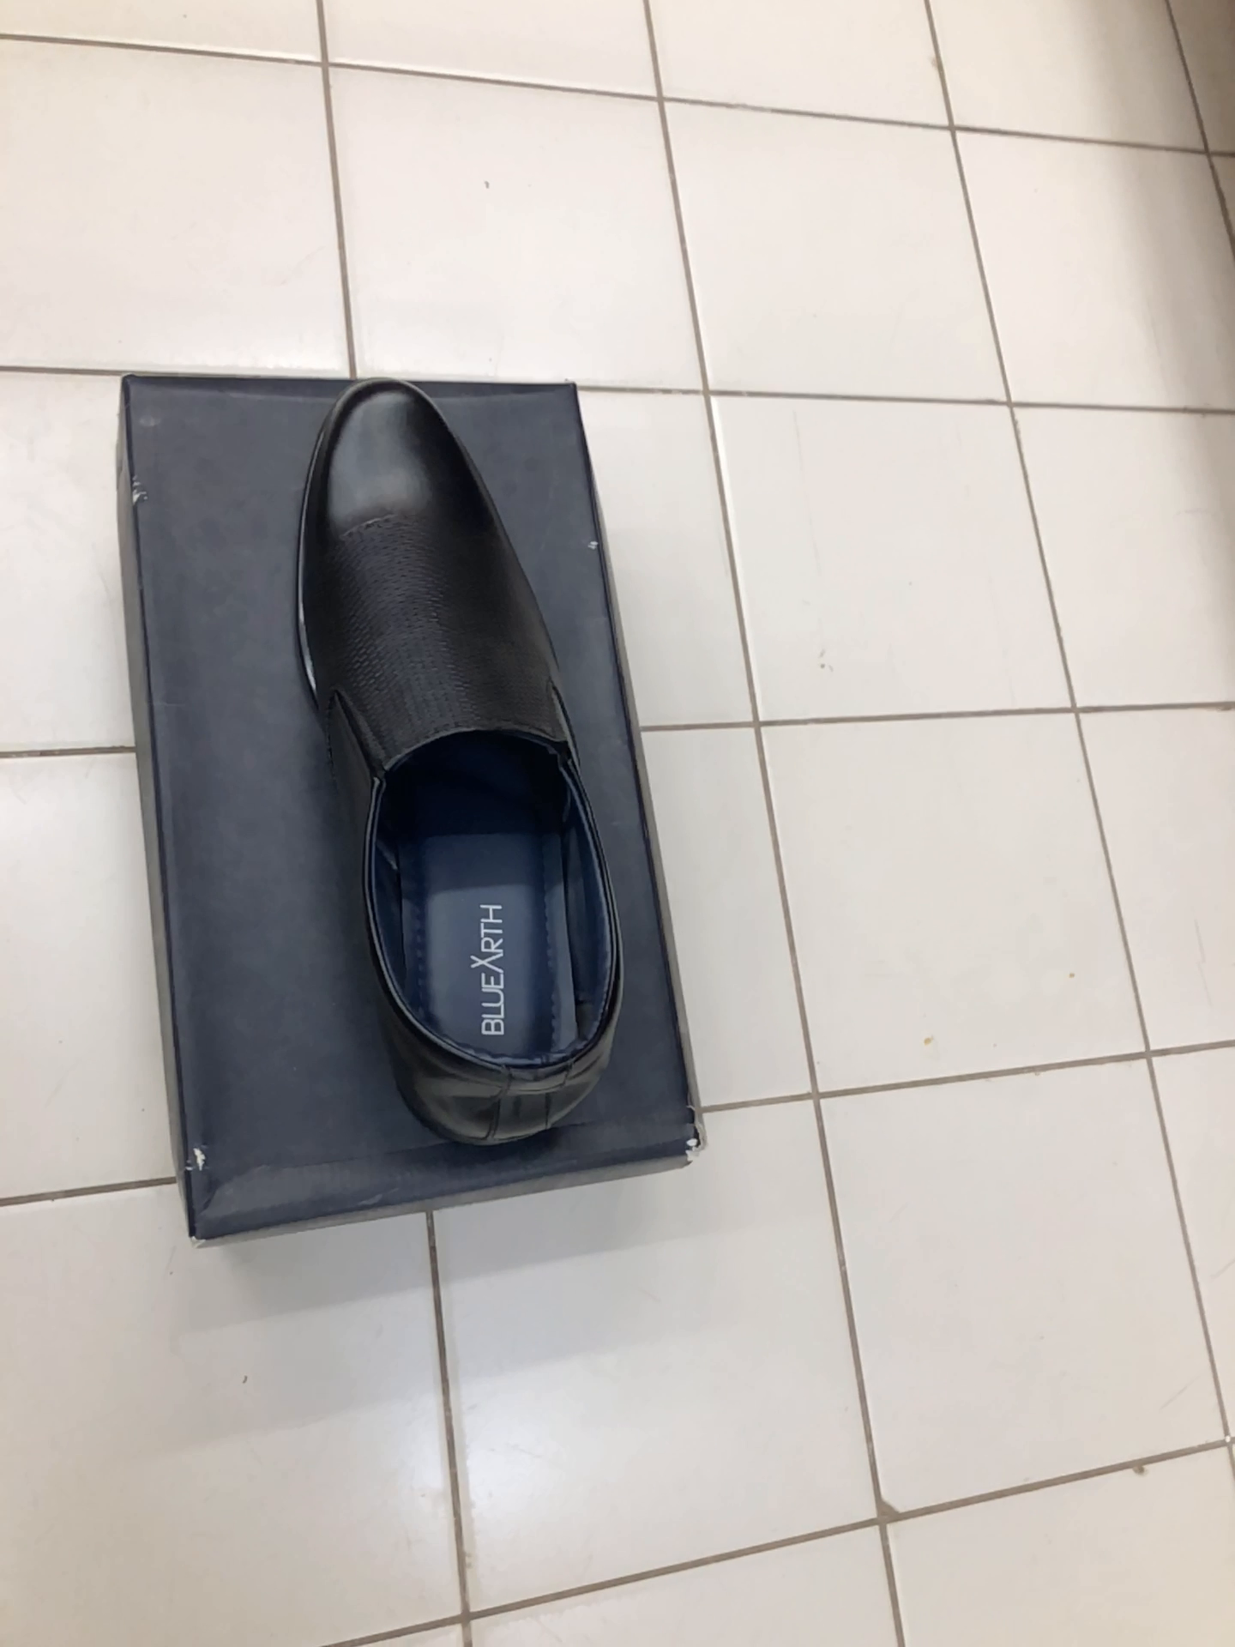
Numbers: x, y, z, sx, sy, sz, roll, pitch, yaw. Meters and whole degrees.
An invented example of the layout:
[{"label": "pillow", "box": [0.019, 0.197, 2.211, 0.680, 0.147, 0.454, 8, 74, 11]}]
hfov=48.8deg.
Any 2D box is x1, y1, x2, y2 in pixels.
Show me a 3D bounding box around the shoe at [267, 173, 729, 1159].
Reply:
[{"label": "shoe", "box": [-0.059, -0.055, 0.519, 0.100, 0.130, 0.340, -7, 78, -17]}]
